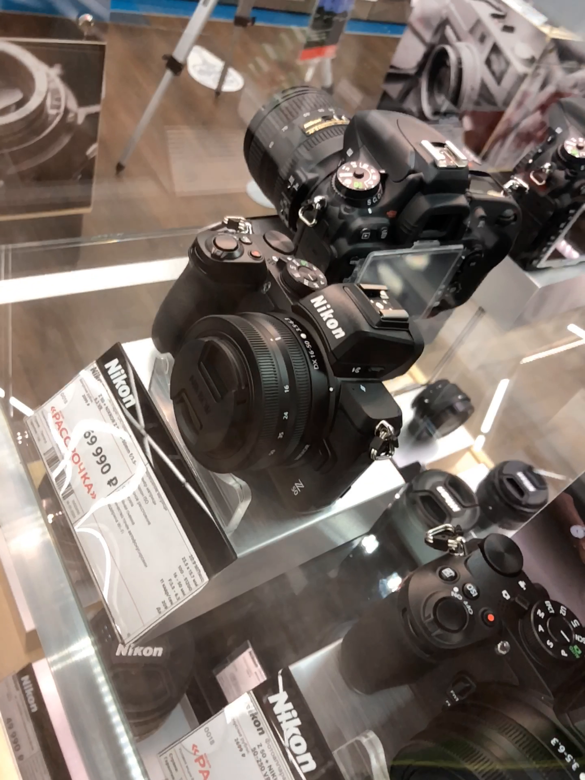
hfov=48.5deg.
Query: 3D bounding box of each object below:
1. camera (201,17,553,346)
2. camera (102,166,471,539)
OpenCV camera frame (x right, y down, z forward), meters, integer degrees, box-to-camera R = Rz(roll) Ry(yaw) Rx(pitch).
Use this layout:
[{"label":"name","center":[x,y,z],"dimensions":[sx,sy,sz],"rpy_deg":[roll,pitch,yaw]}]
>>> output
[{"label":"camera","center":[0.042,-0.130,0.407],"dimensions":[0.130,0.112,0.150],"rpy_deg":[-12,60,-31]},{"label":"camera","center":[-0.010,-0.020,0.300],"dimensions":[0.090,0.092,0.127],"rpy_deg":[-6,53,-42]}]
